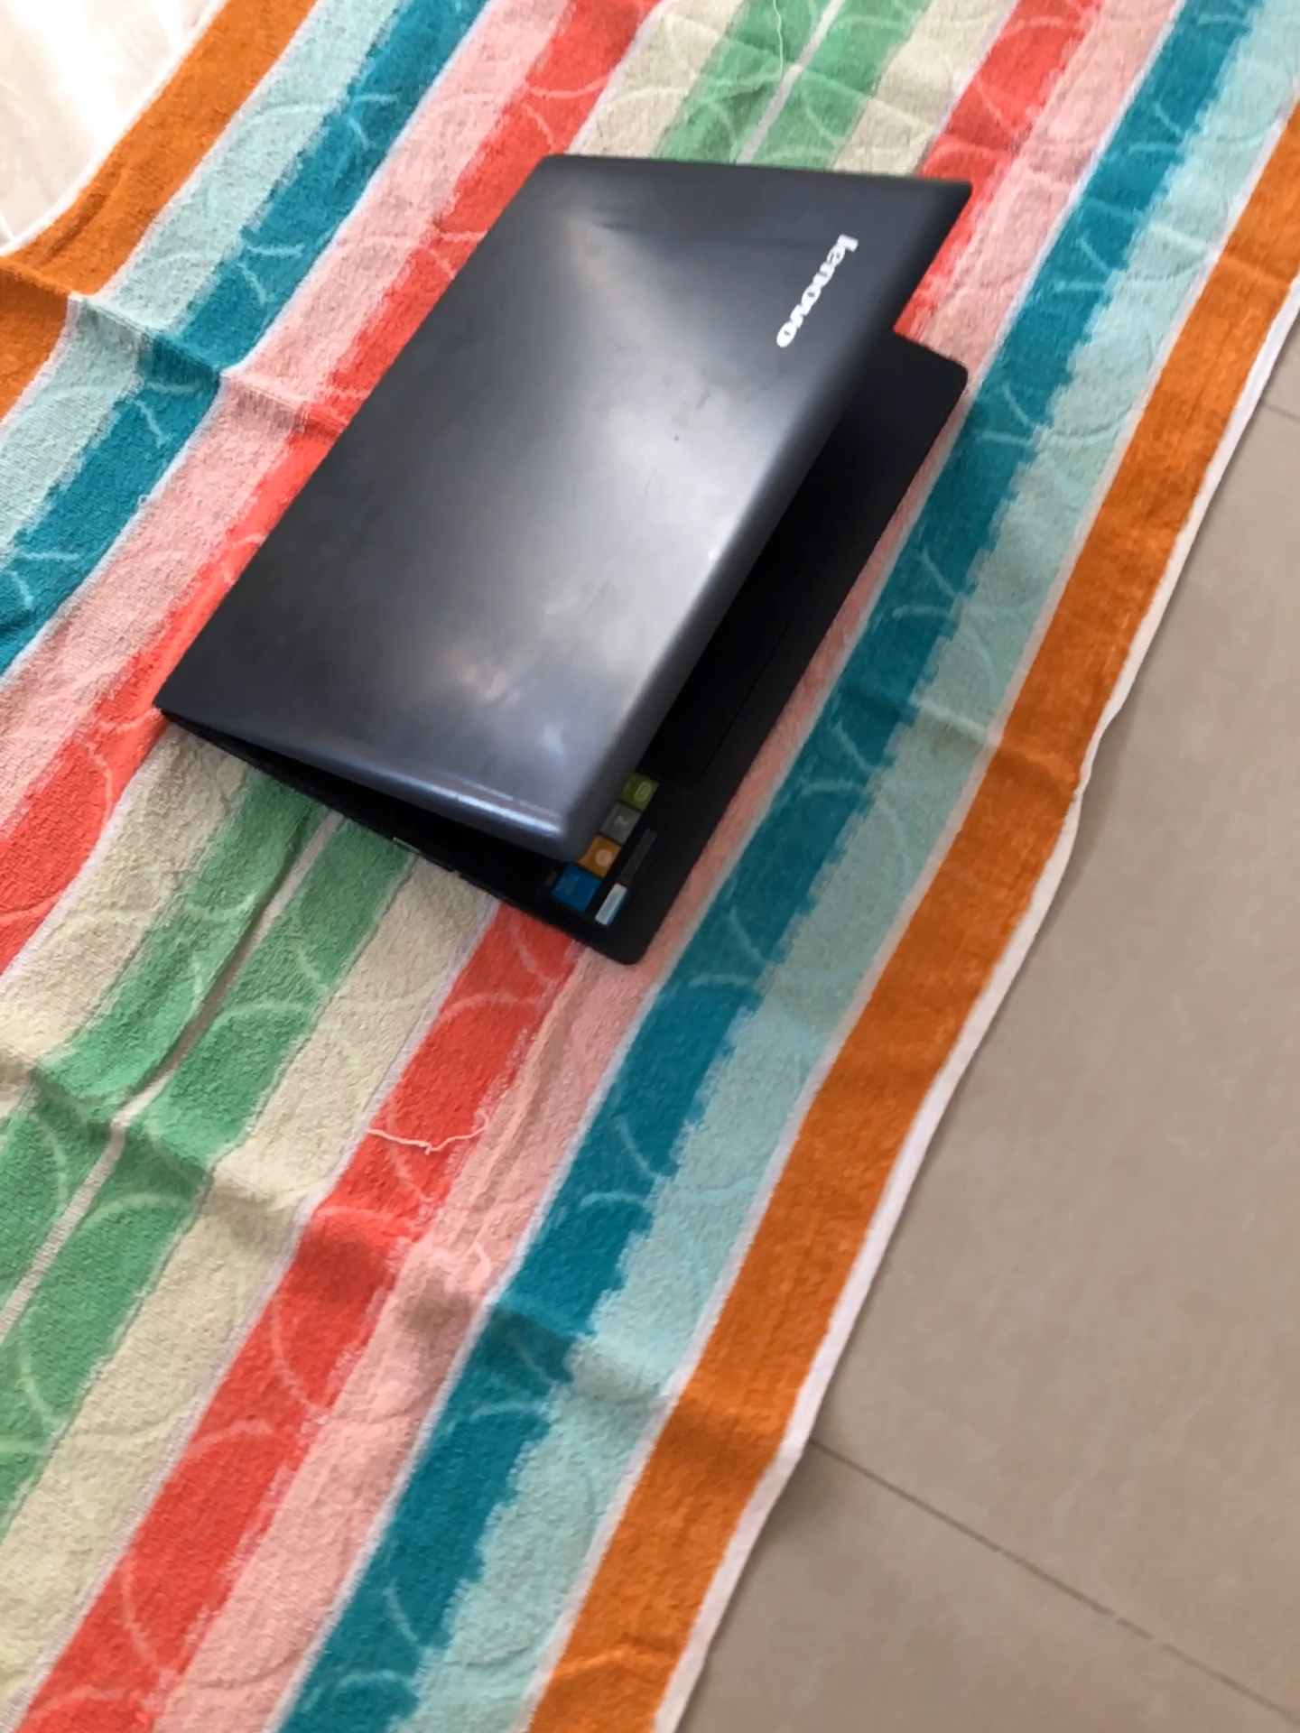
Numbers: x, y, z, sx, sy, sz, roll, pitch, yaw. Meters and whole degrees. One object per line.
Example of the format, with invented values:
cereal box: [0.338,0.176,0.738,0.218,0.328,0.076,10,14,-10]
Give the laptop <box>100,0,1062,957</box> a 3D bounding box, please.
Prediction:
laptop: [-0.020,-0.185,0.656,0.252,0.126,0.364,28,73,9]
